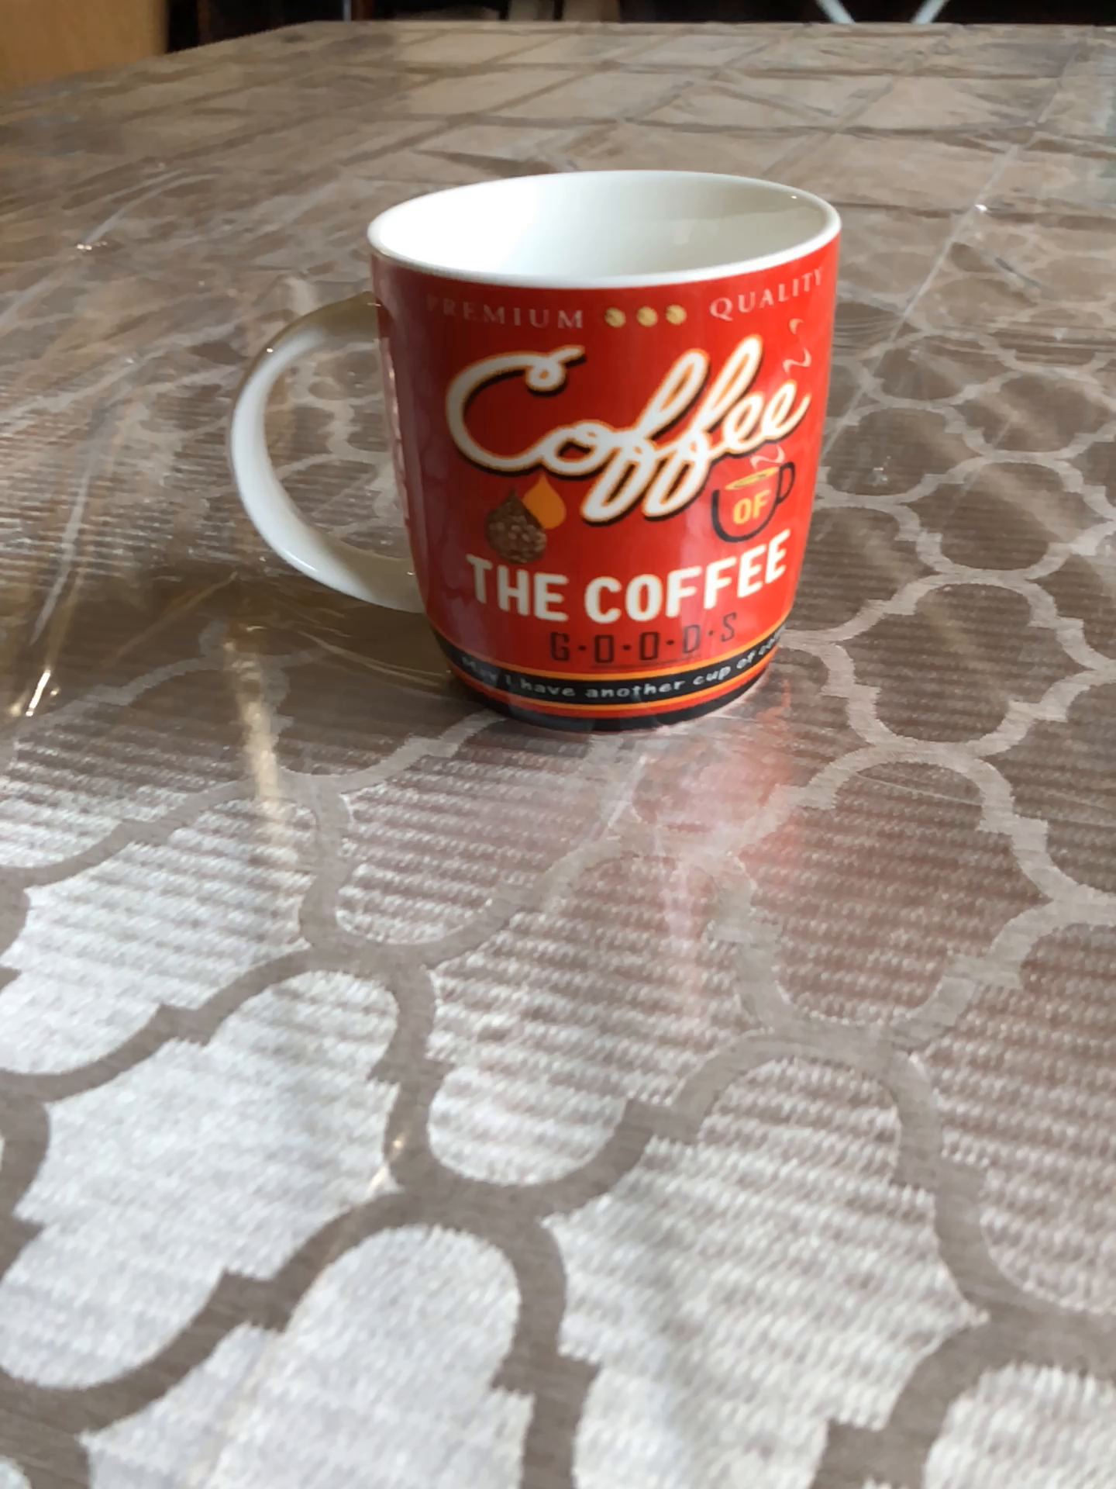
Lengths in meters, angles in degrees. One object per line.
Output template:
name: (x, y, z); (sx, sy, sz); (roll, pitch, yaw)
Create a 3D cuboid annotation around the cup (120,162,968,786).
cup: (-0.006, -0.065, 0.260); (0.130, 0.080, 0.121); (-2, 34, 1)
